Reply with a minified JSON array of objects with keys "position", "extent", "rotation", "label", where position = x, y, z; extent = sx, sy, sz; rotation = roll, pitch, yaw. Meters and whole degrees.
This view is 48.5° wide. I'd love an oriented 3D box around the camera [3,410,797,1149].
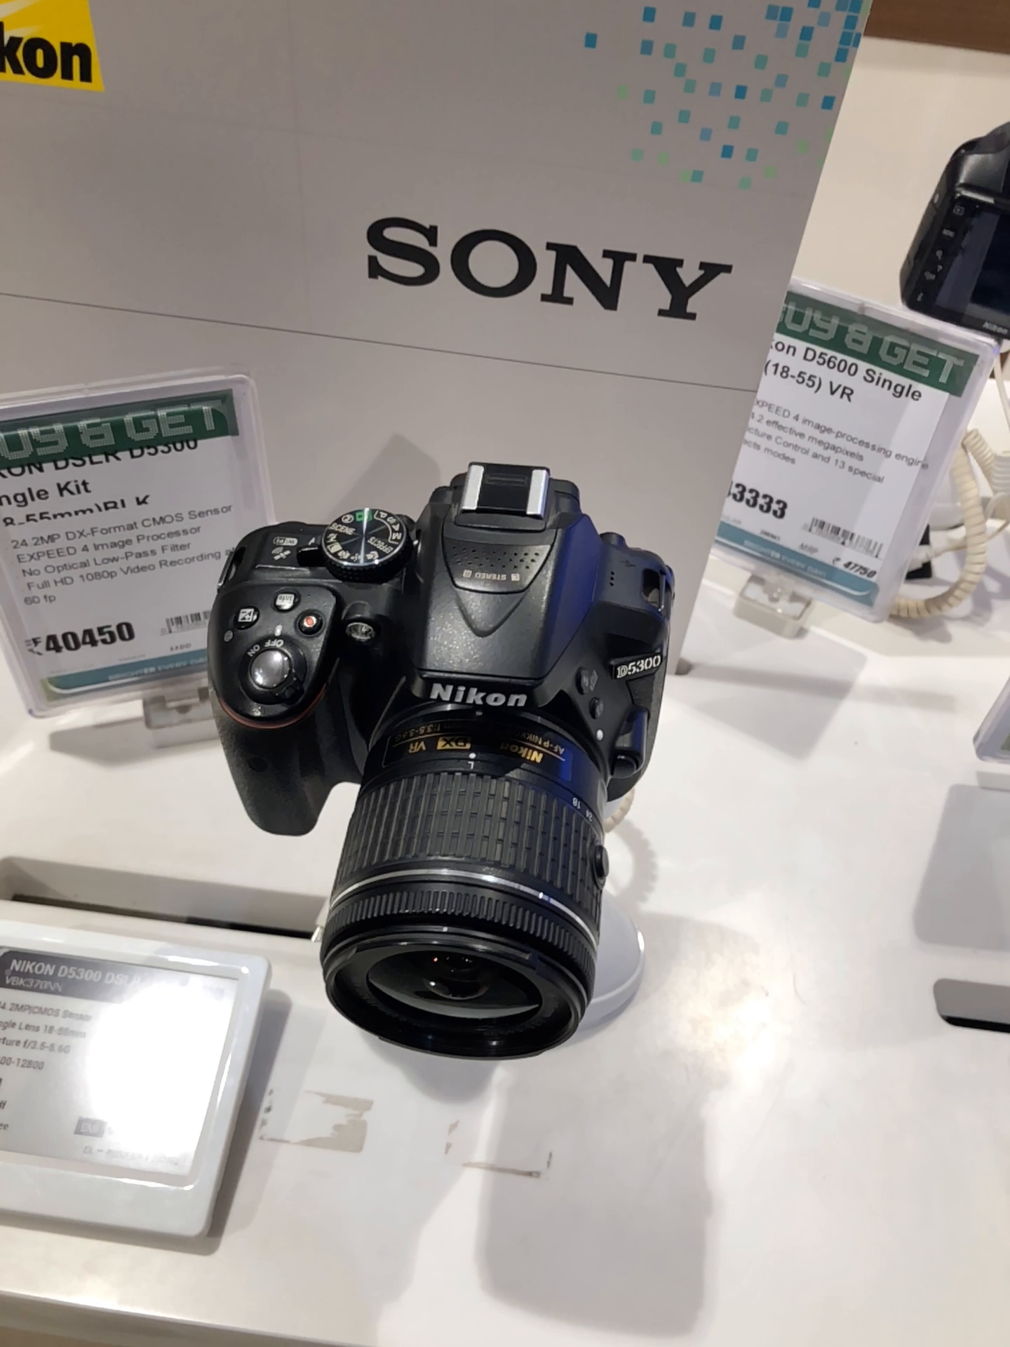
[{"position":[-0.017,0.023,0.282],"extent":[0.140,0.099,0.141],"rotation":[6,46,-1],"label":"camera"}]
